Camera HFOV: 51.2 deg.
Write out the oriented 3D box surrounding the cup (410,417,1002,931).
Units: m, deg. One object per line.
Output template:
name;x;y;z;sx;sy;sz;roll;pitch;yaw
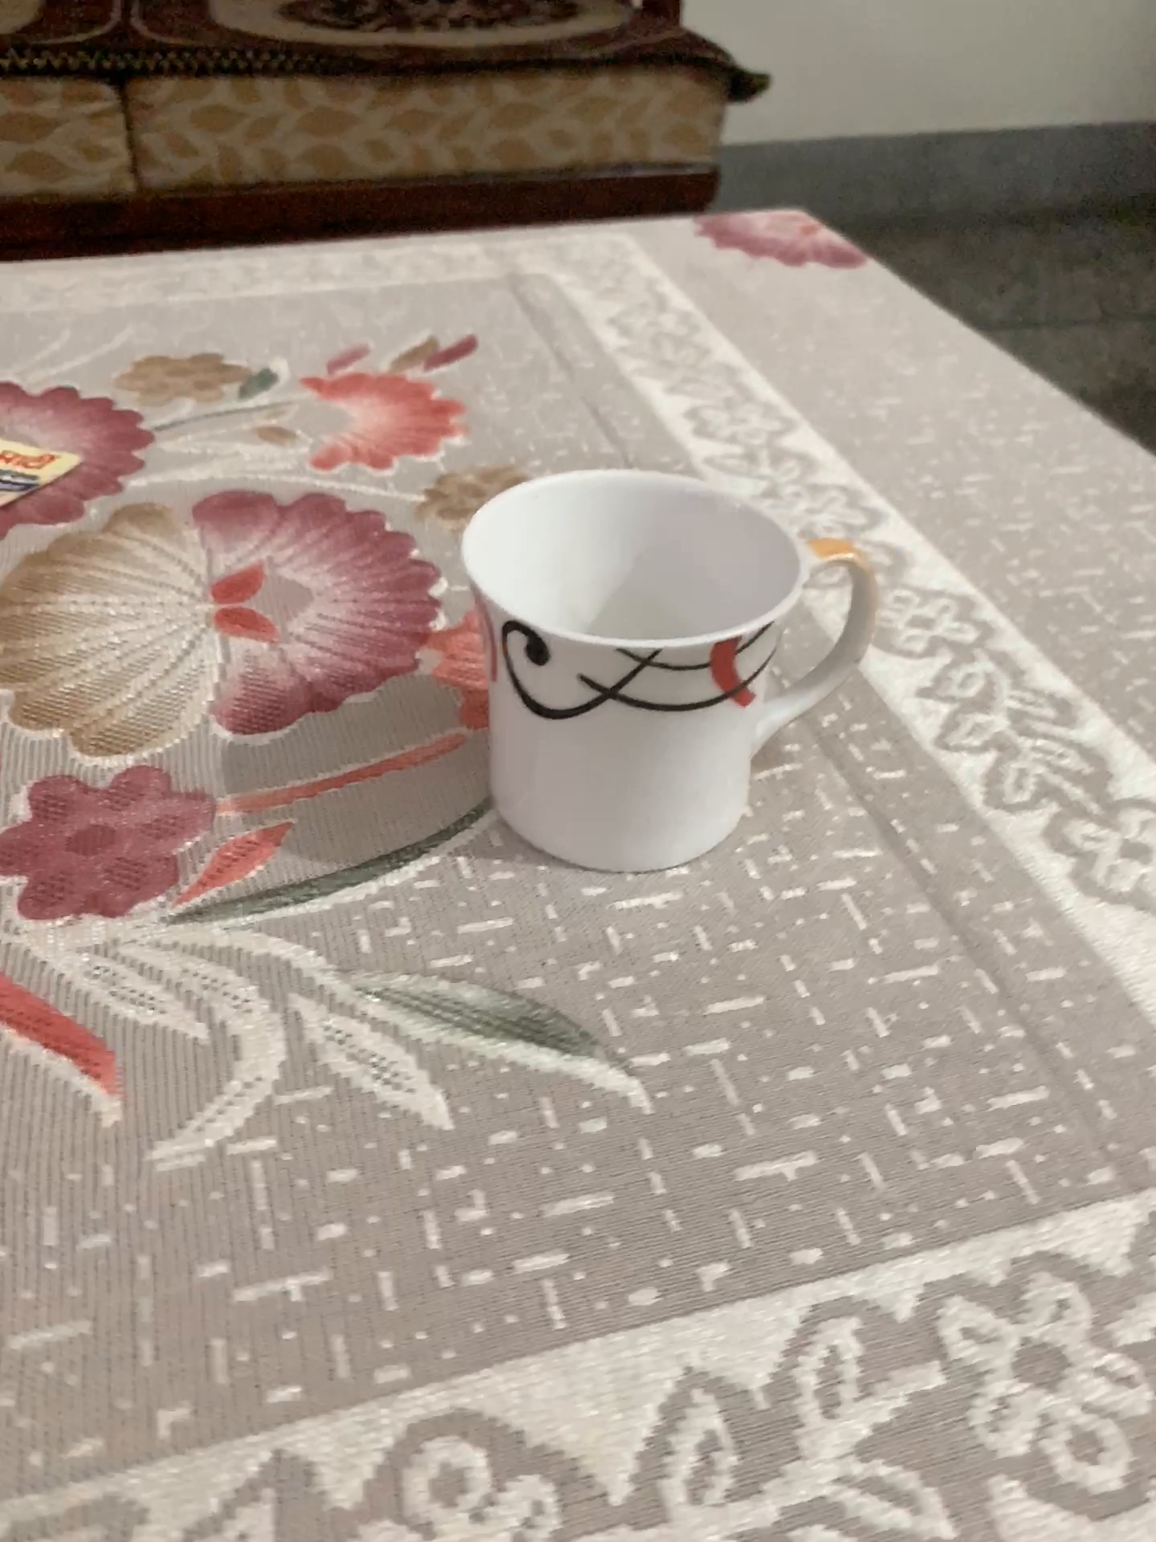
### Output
cup;0.021;-0.024;0.247;0.090;0.060;0.070;-13;43;-17
